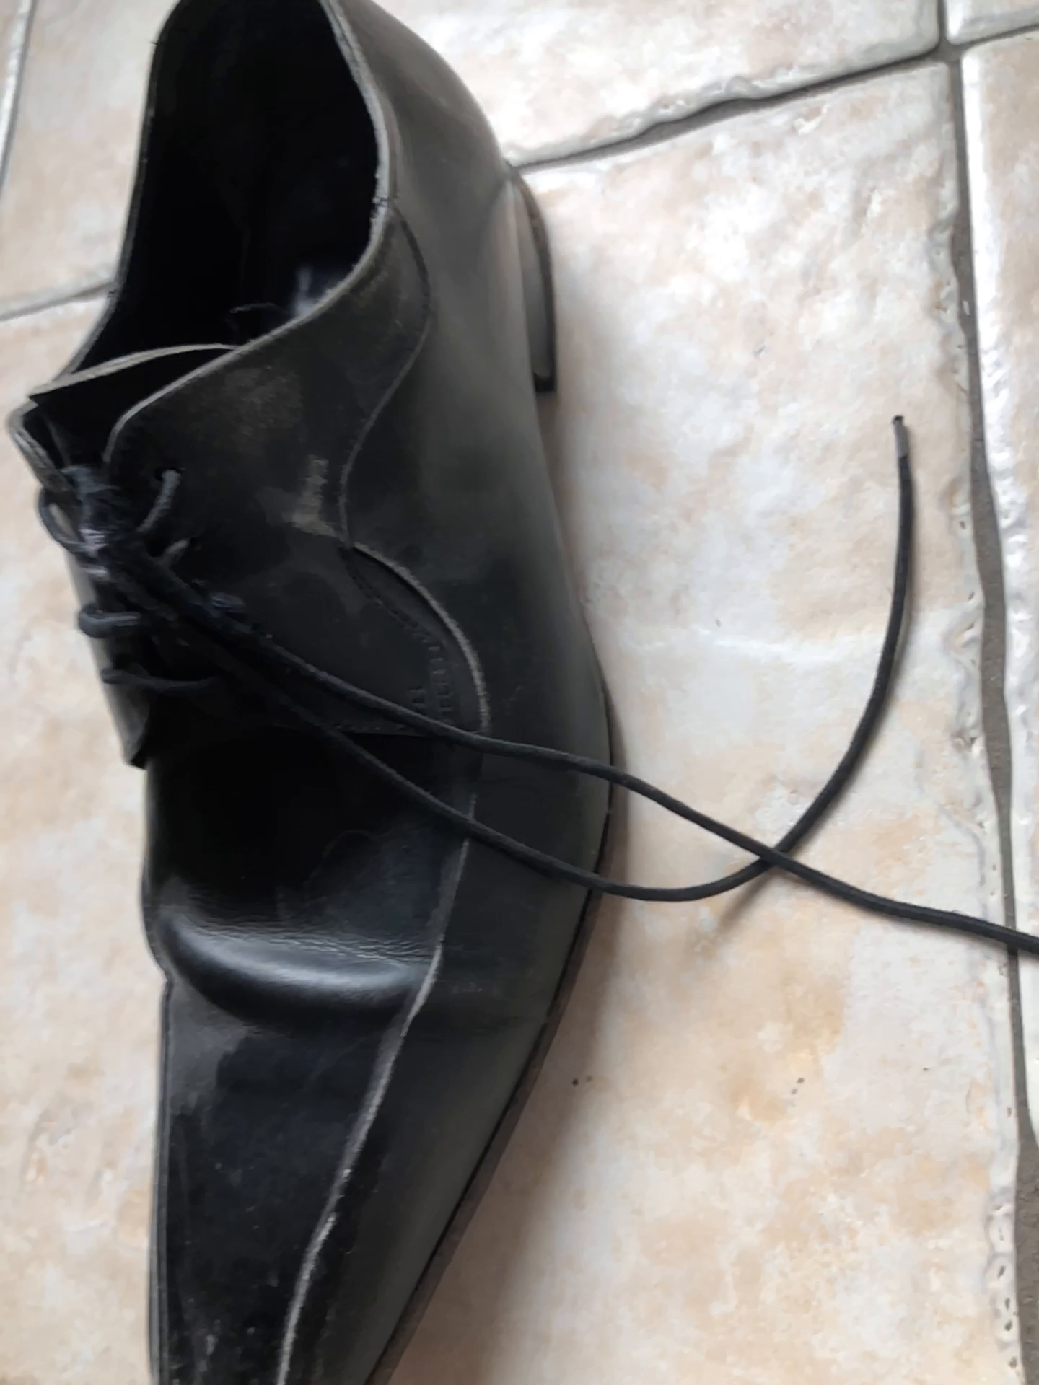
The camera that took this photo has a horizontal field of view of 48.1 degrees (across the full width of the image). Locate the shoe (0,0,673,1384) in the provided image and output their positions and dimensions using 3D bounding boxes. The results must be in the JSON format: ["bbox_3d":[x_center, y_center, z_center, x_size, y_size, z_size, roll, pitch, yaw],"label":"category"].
[{"bbox_3d":[-0.041,-0.006,0.229,0.100,0.090,0.290,-2,75,27],"label":"shoe"}]
